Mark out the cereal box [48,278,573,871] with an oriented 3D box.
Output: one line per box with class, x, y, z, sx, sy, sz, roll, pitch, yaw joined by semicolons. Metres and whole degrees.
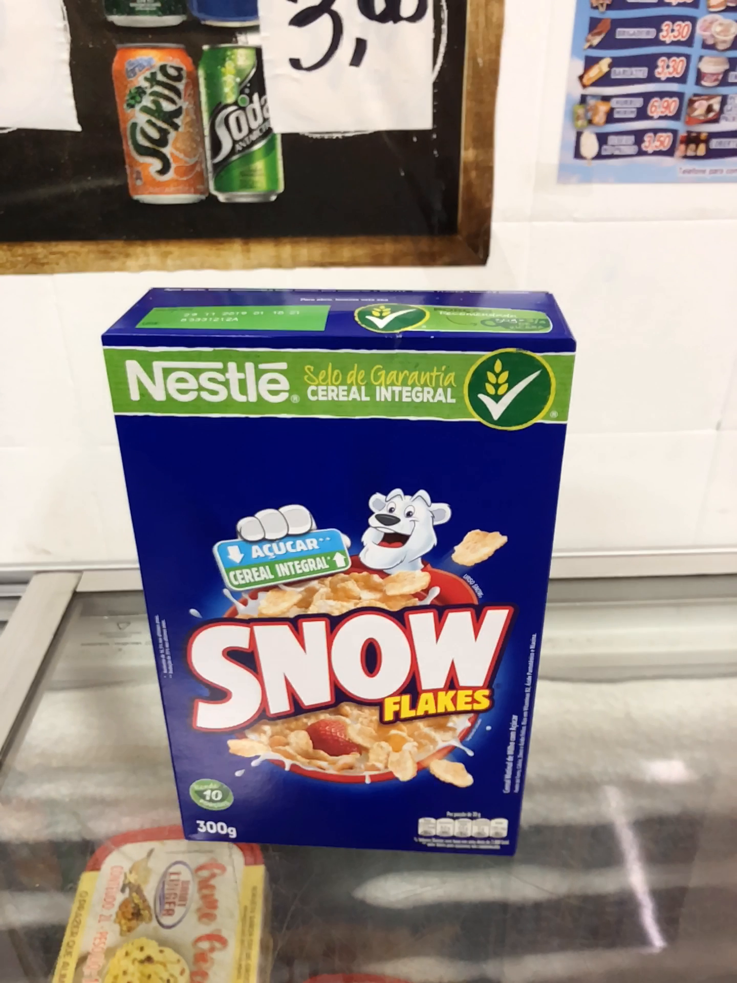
cereal box;-0.018;0.047;0.358;0.170;0.258;0.071;2;30;3
